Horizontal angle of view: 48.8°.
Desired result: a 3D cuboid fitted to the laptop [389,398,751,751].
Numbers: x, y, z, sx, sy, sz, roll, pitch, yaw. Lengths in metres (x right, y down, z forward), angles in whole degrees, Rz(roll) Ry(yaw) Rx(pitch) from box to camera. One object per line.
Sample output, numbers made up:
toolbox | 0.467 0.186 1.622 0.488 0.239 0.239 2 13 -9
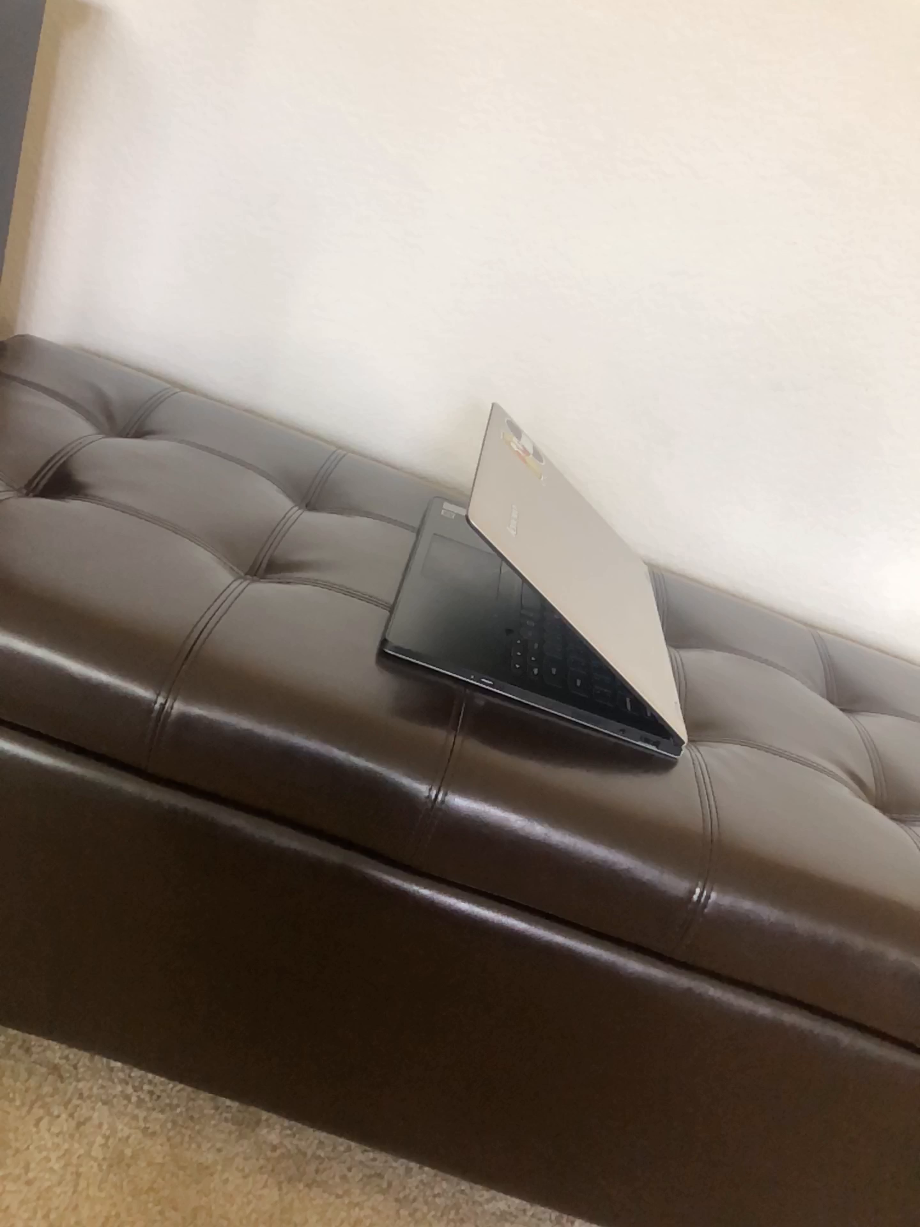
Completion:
laptop | 0.076 -0.048 0.753 0.197 0.097 0.294 20 24 -4
